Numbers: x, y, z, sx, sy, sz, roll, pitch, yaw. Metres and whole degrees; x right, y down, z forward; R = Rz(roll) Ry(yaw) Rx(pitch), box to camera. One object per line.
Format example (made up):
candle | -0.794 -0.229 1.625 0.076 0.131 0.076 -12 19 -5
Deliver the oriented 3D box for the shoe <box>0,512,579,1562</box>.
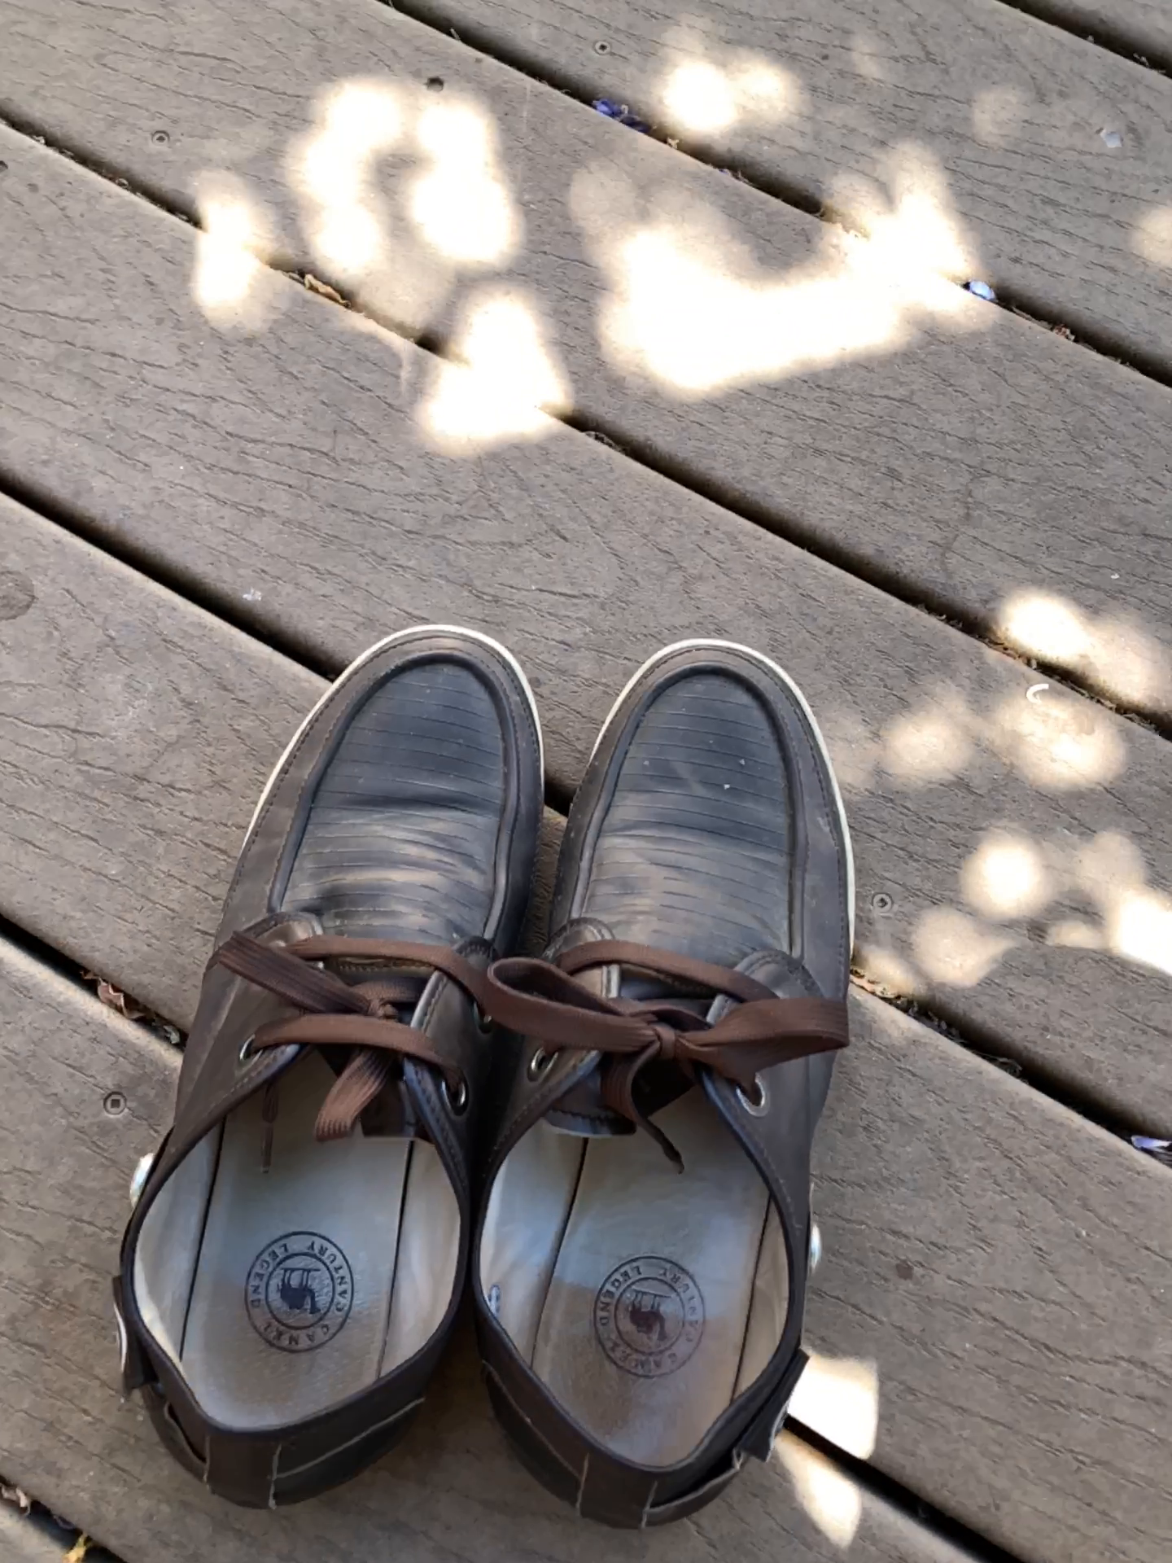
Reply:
shoe | -0.079 0.077 0.414 0.107 0.115 0.287 9 73 1

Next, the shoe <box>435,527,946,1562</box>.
shoe | 0.035 0.081 0.407 0.107 0.105 0.289 8 73 1
